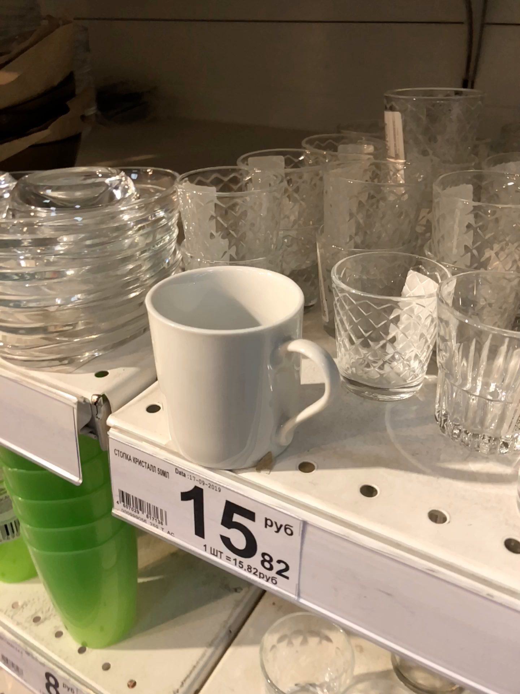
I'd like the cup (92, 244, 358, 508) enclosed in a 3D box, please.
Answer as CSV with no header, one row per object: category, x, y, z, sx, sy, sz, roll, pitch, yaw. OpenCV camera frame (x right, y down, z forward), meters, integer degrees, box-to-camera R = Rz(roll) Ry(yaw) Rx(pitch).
cup,-0.012,0.006,0.219,0.074,0.060,0.057,20,36,30
